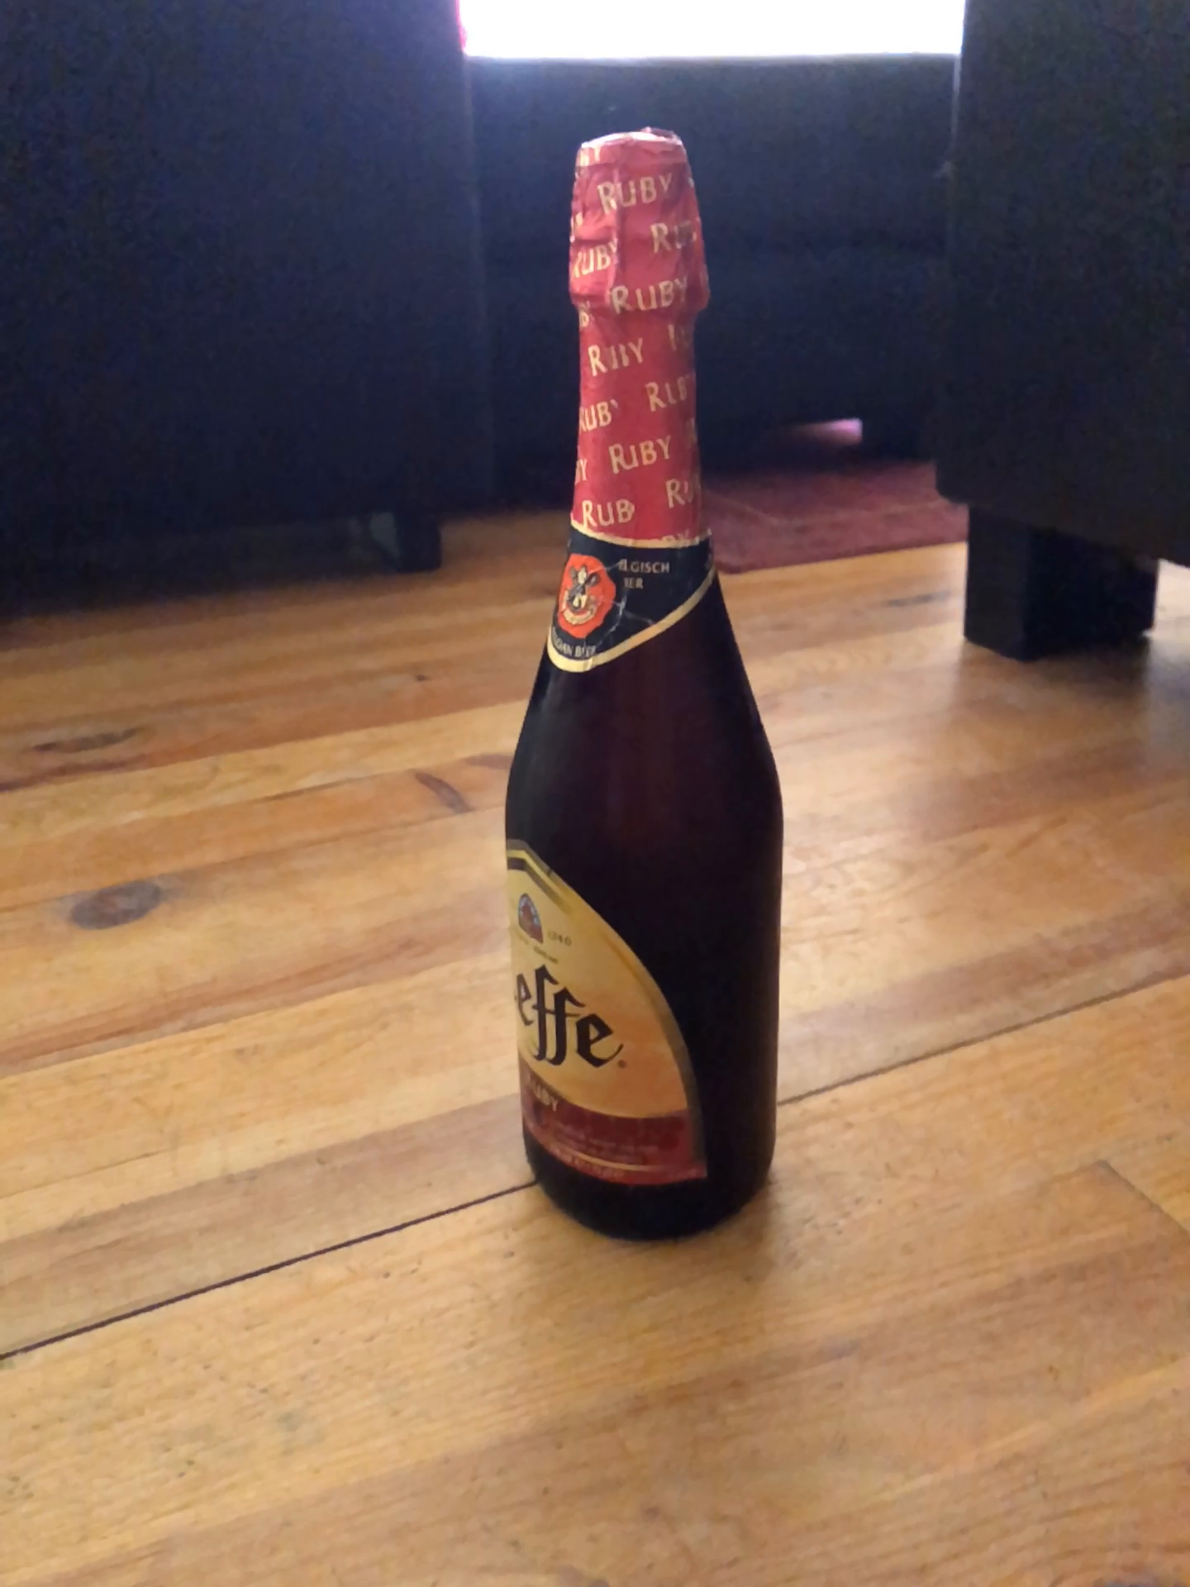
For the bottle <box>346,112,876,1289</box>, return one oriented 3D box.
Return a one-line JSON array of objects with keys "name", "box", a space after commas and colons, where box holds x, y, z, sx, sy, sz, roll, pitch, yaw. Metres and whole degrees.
[{"name": "bottle", "box": [0.006, -0.021, 0.360, 0.090, 0.288, 0.090, -2, 24, 1]}]
